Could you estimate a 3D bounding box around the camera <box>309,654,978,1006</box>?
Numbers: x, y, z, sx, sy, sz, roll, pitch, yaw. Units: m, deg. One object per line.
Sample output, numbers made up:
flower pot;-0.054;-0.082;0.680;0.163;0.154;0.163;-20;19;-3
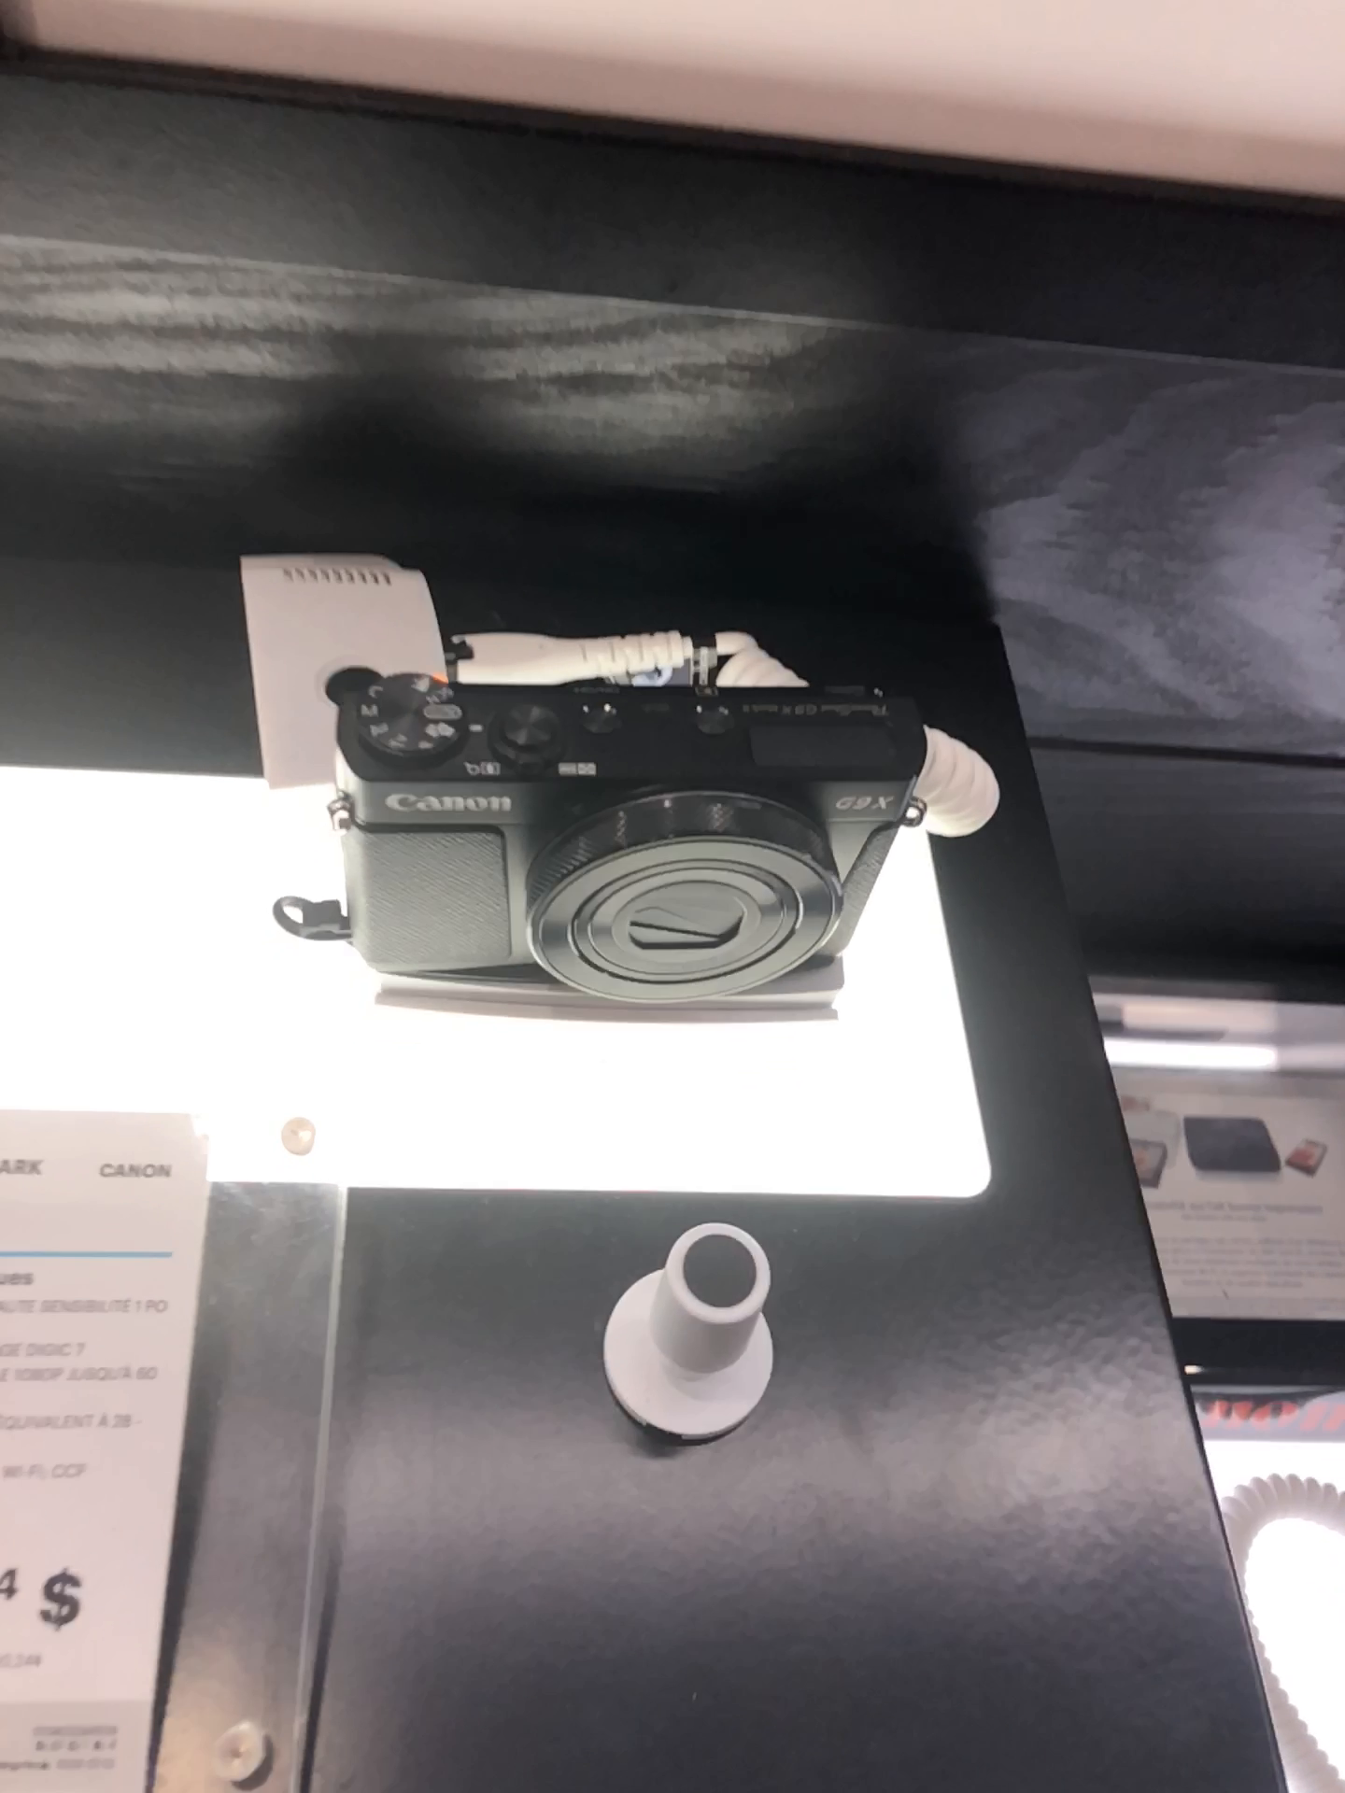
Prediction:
camera;-0.008;-0.009;0.249;0.100;0.059;0.025;-1;53;-11
